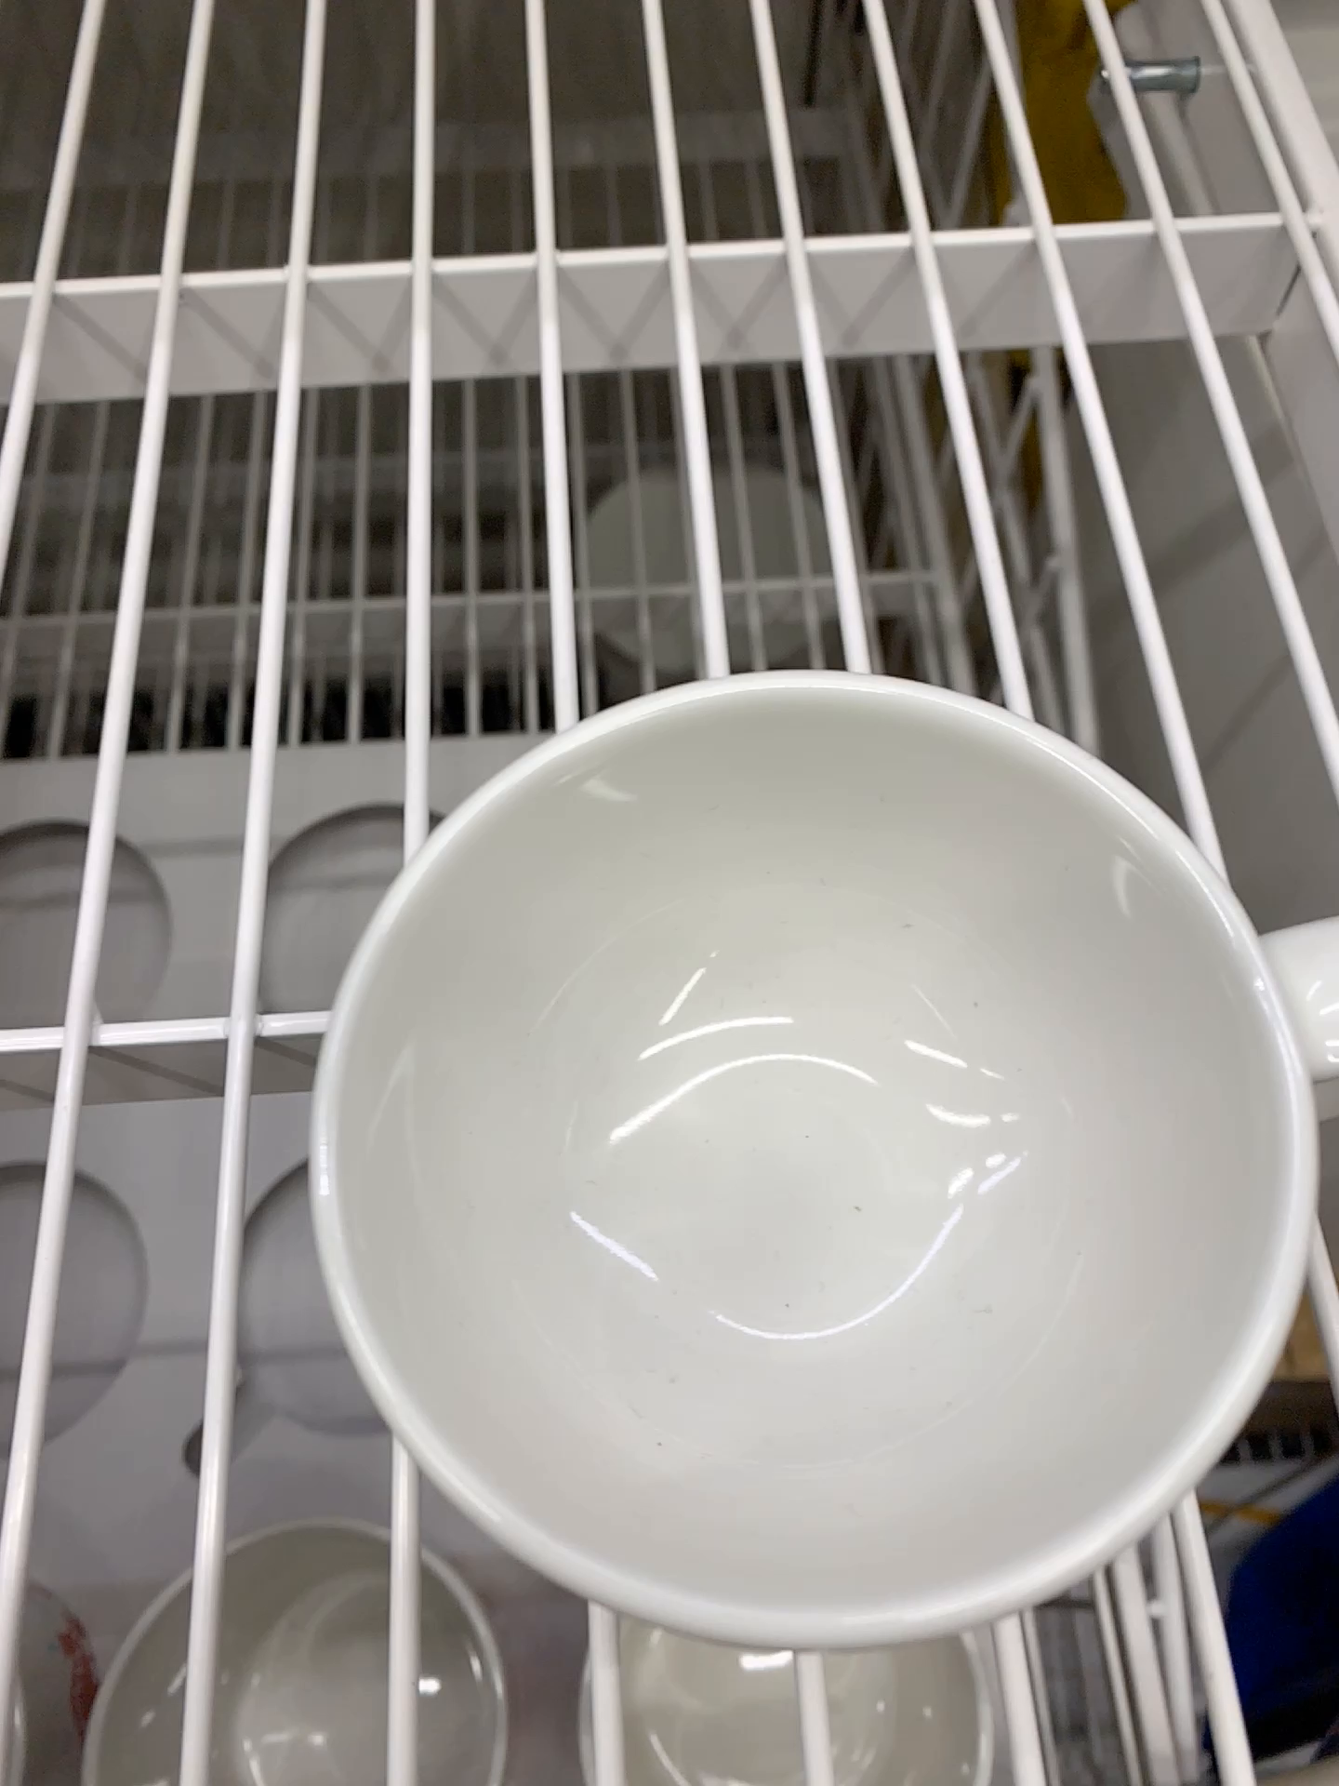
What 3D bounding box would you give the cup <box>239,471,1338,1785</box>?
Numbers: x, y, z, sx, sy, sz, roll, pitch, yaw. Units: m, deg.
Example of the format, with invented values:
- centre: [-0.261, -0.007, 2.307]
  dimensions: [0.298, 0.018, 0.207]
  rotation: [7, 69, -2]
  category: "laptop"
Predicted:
- centre: [0.025, 0.017, 0.133]
  dimensions: [0.116, 0.036, 0.096]
  rotation: [-9, 64, -5]
  category: "cup"
